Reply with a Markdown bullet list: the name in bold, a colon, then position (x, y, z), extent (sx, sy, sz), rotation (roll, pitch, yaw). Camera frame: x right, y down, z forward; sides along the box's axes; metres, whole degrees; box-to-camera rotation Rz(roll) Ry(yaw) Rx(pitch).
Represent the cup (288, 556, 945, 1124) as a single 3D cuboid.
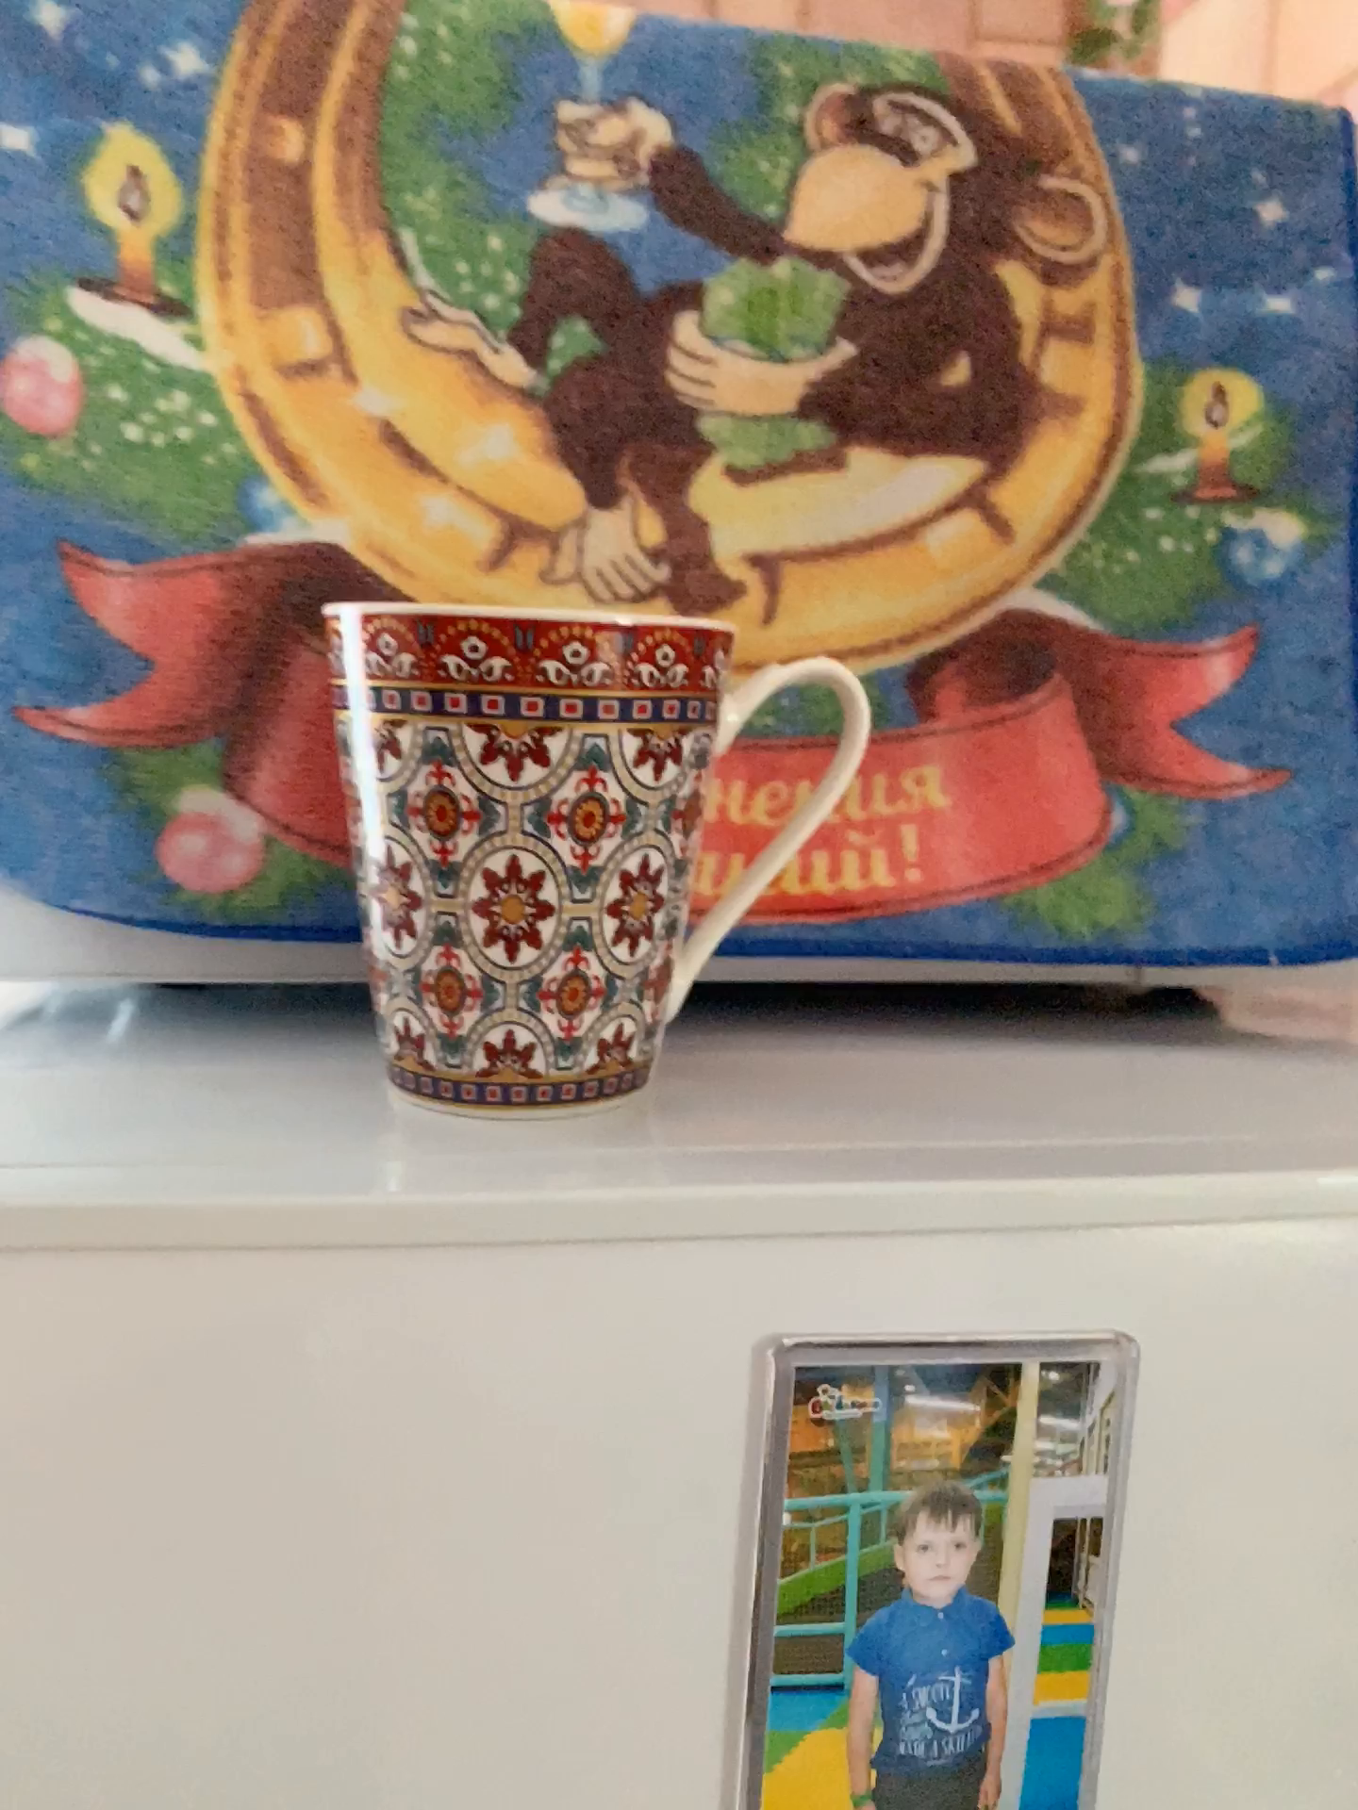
- **cup**: position (-0.021, -0.017, 0.313), extent (0.124, 0.101, 0.090), rotation (0, 7, -17)
